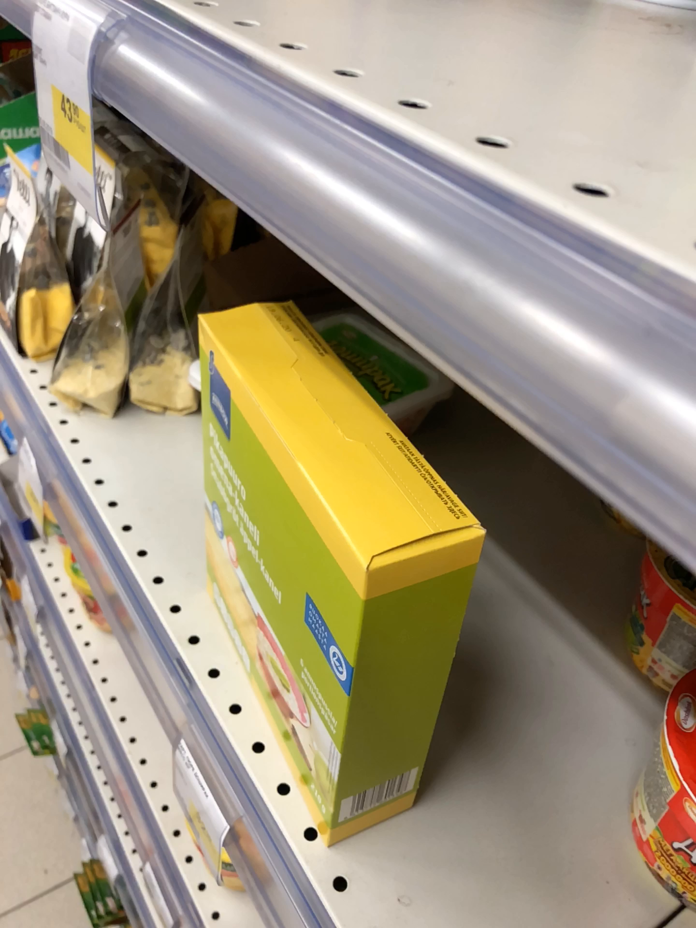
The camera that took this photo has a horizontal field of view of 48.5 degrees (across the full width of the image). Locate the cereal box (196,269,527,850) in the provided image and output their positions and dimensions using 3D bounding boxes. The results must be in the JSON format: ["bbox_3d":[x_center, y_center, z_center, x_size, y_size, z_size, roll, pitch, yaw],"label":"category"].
[{"bbox_3d":[-0.014,0.040,0.347,0.050,0.189,0.171,-14,43,-24],"label":"cereal box"}]
